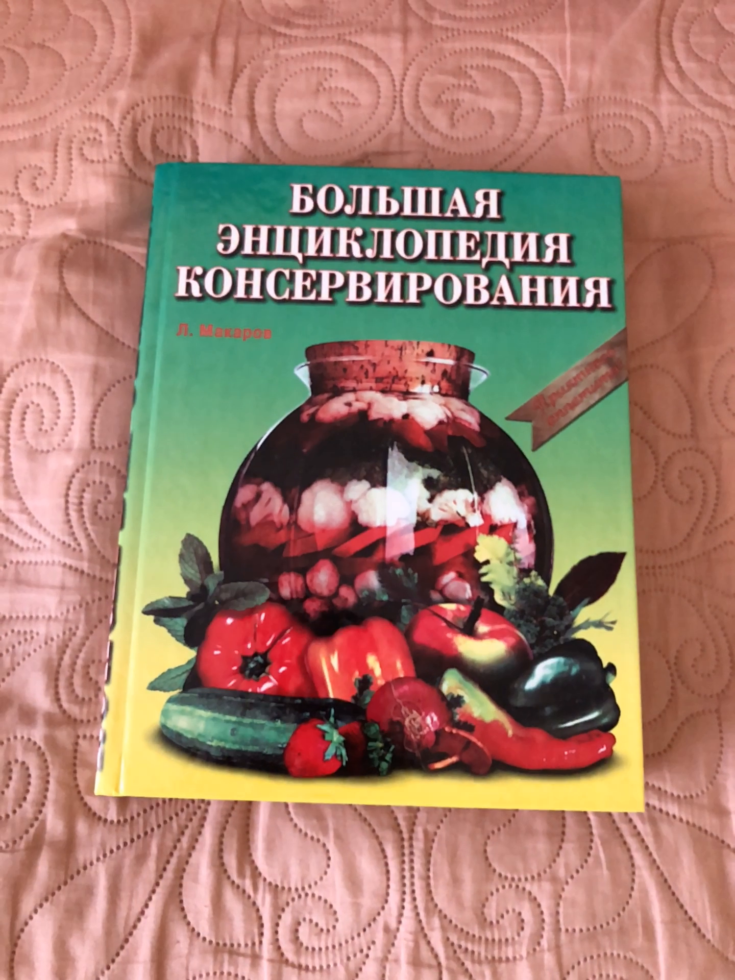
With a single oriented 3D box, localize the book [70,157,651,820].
[{"bbox_3d":[0.001,-0.007,0.358,0.216,0.050,0.272,2,77,-1],"label":"book"}]
